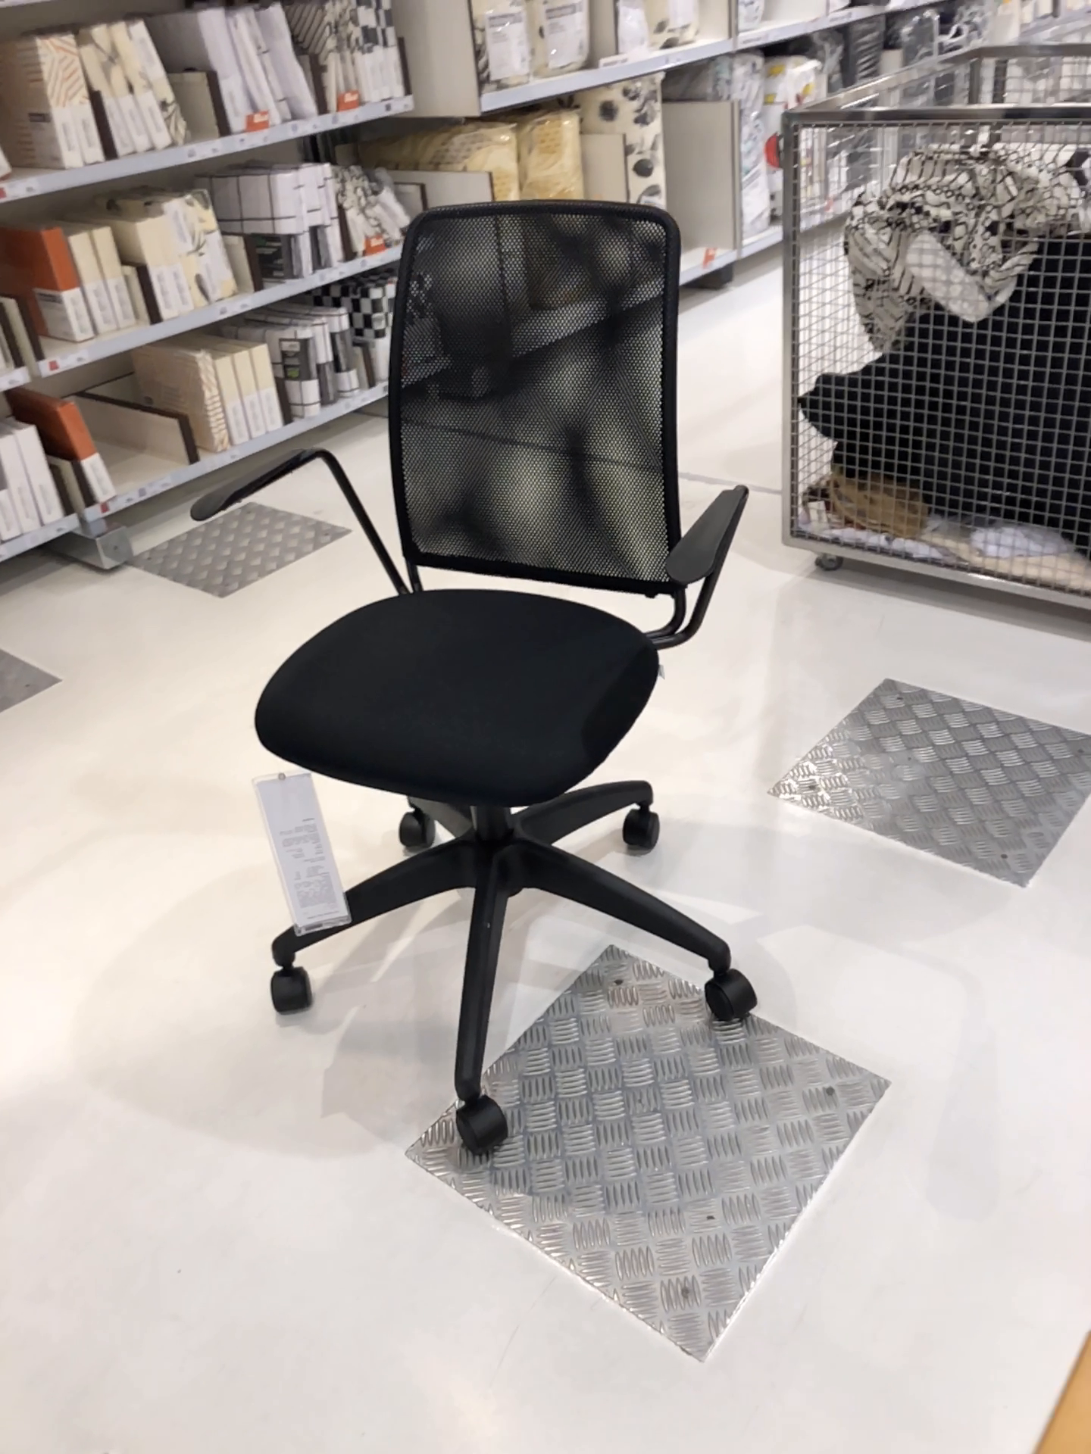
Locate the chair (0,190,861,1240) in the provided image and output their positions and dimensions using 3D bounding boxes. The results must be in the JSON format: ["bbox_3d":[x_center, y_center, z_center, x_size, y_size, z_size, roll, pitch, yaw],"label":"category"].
[{"bbox_3d":[-0.058,-0.076,1.324,0.631,0.814,0.695,9,36,24],"label":"chair"}]
